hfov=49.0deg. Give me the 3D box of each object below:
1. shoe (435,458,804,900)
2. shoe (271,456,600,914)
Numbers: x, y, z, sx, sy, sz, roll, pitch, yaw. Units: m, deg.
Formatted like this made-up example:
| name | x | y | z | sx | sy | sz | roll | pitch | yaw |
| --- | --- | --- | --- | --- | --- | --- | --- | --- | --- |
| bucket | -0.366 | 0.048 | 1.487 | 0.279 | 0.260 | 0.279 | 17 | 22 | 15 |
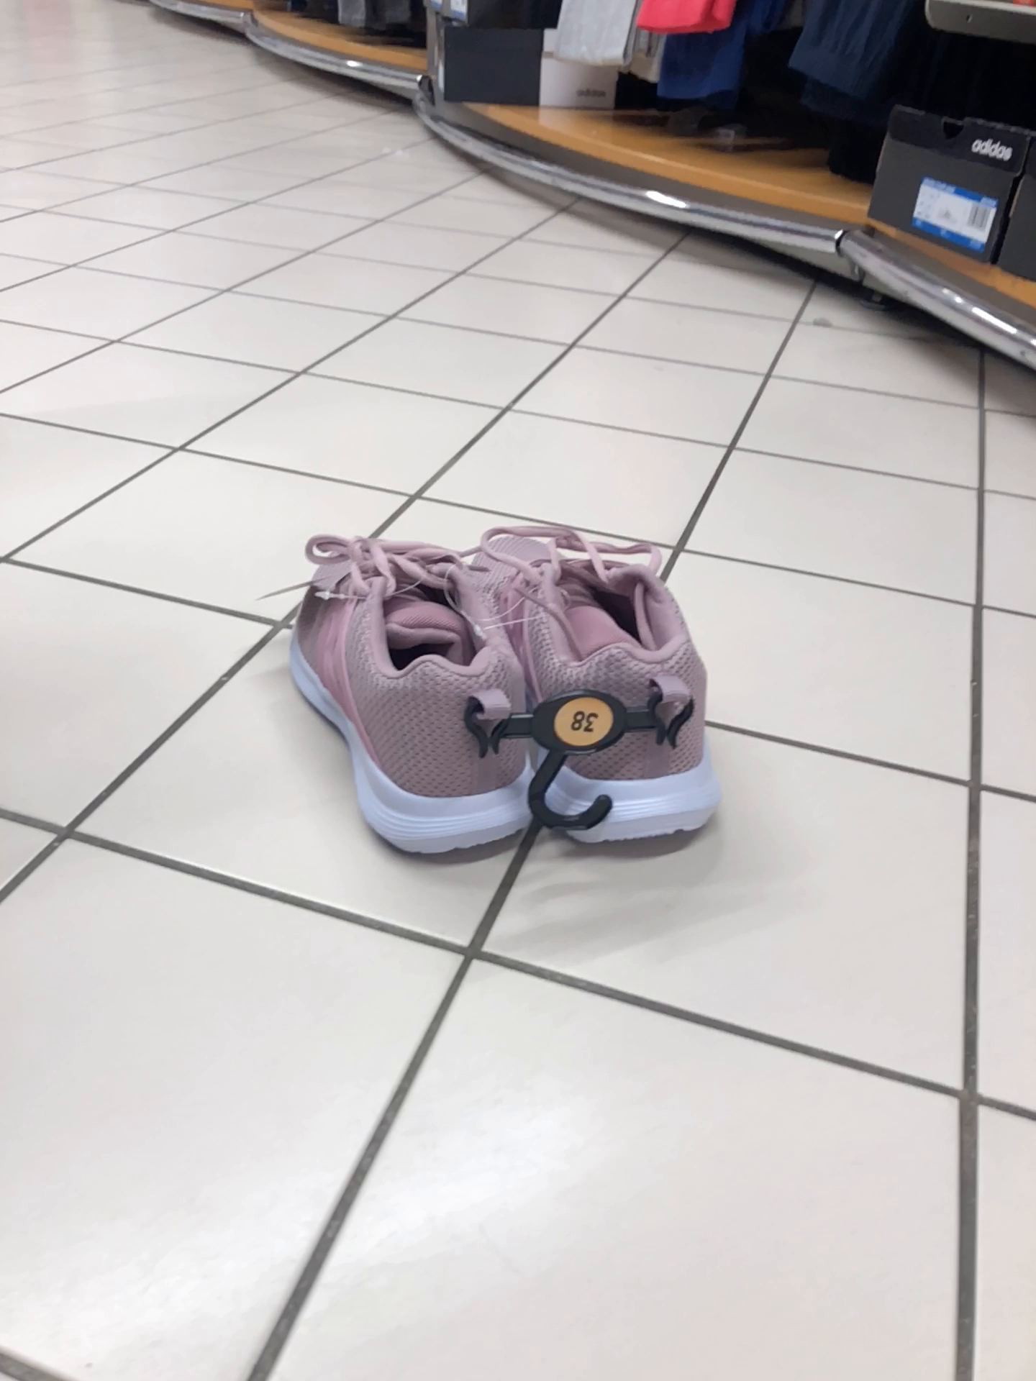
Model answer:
| name | x | y | z | sx | sy | sz | roll | pitch | yaw |
| --- | --- | --- | --- | --- | --- | --- | --- | --- | --- |
| shoe | 0.034 | -0.024 | 0.590 | 0.100 | 0.092 | 0.261 | -7 | 35 | -14 |
| shoe | -0.056 | -0.021 | 0.589 | 0.103 | 0.099 | 0.261 | -8 | 35 | -16 |
